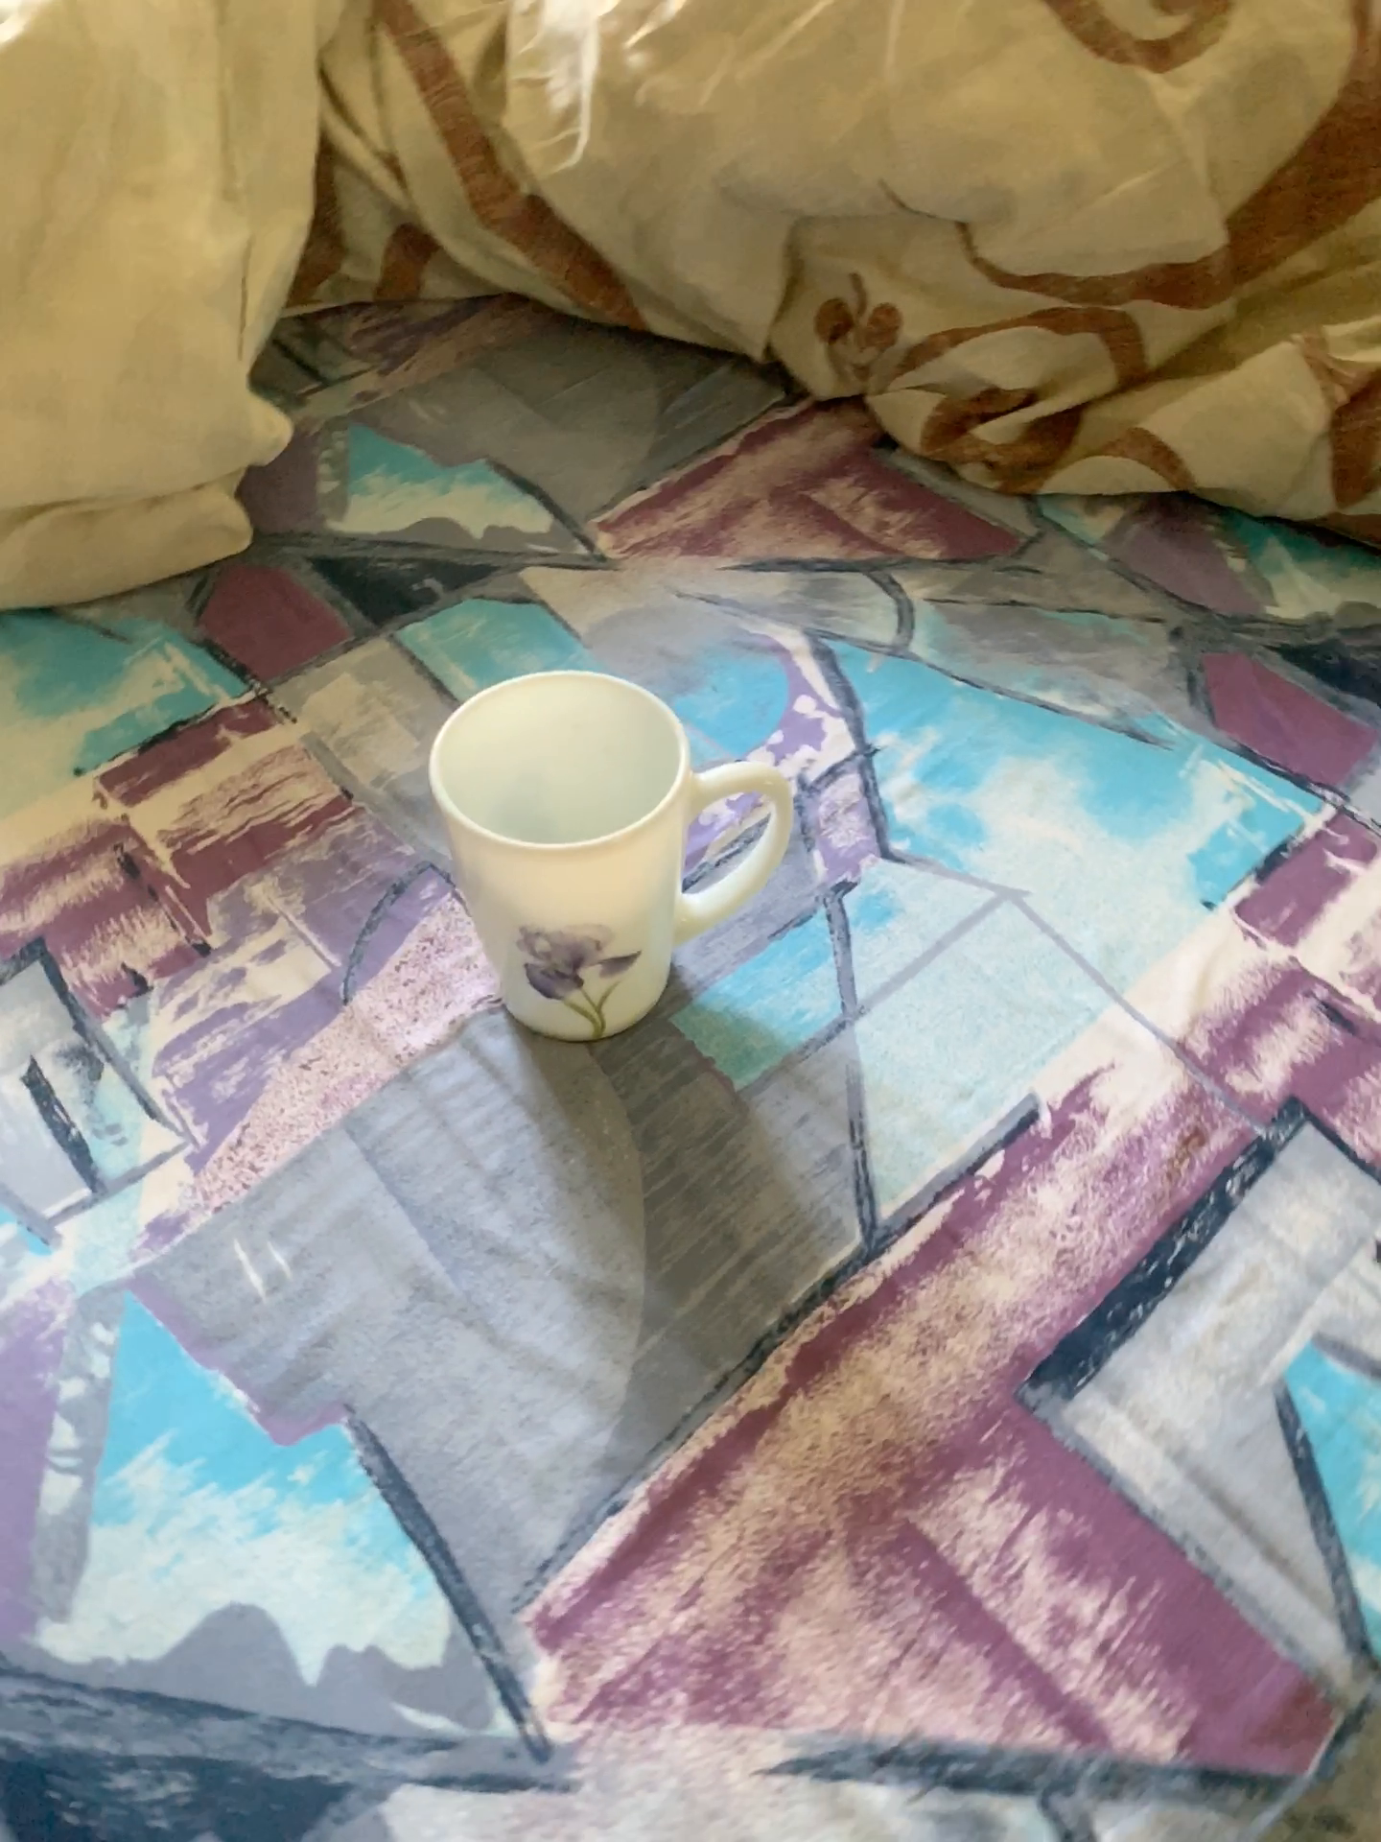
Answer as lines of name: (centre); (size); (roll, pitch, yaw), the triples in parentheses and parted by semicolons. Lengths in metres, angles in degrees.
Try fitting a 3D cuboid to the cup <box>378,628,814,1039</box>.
cup: (-0.028, -0.026, 0.451); (0.120, 0.099, 0.081); (-3, 53, -2)
